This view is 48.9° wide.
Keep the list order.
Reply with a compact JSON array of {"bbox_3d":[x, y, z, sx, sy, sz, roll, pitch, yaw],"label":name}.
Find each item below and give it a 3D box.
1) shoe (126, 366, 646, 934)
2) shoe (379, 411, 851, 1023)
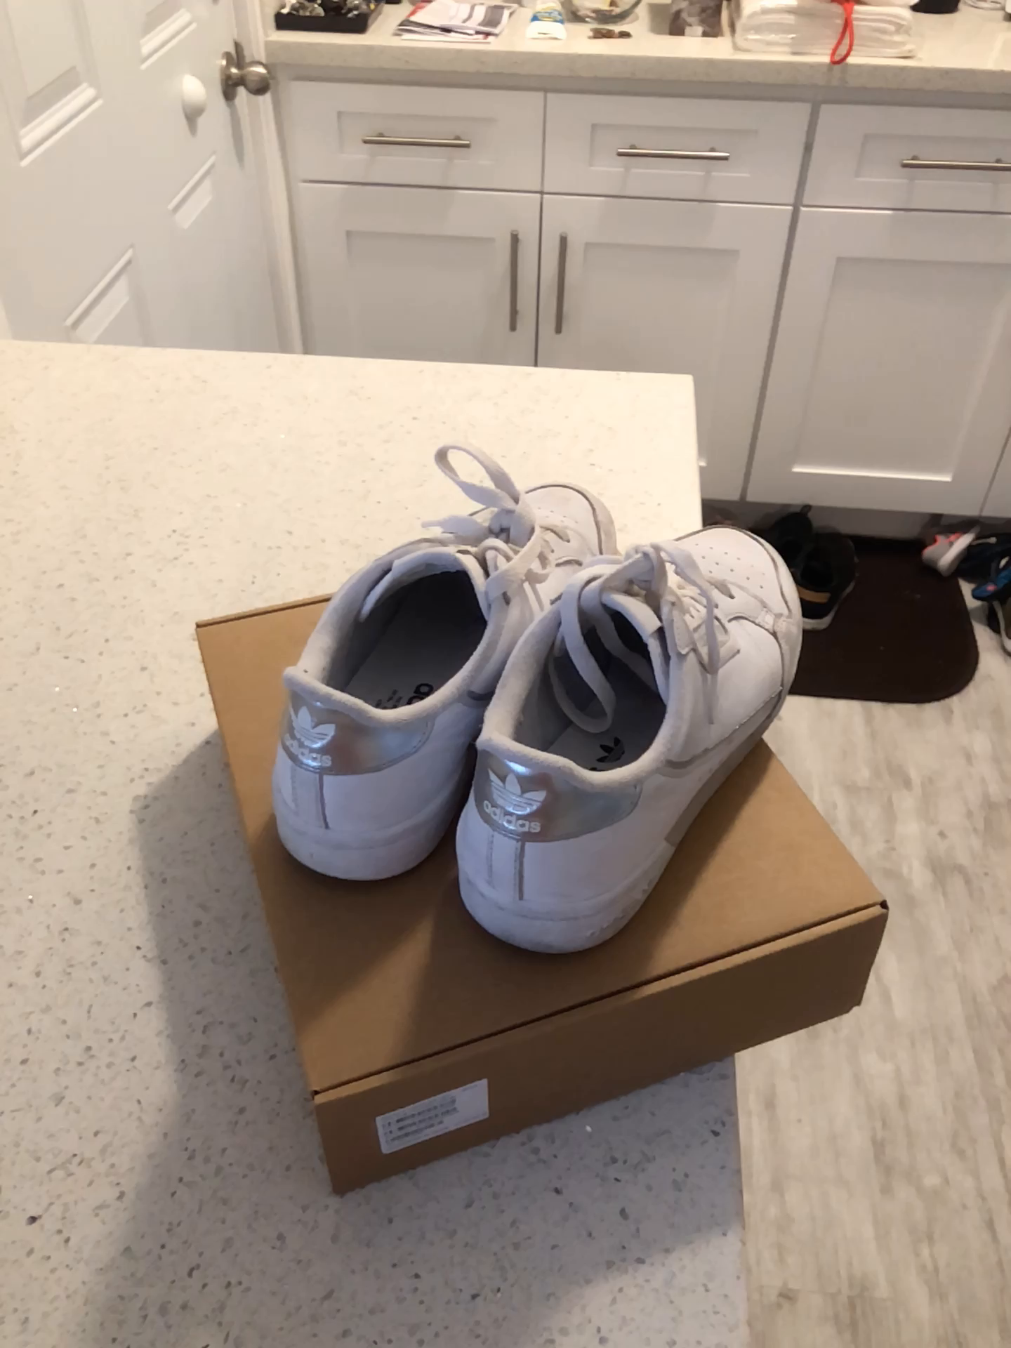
[{"bbox_3d":[-0.035,-0.030,0.518,0.107,0.100,0.268,18,45,18],"label":"shoe"},{"bbox_3d":[0.061,-0.001,0.496,0.107,0.100,0.268,18,45,18],"label":"shoe"}]
